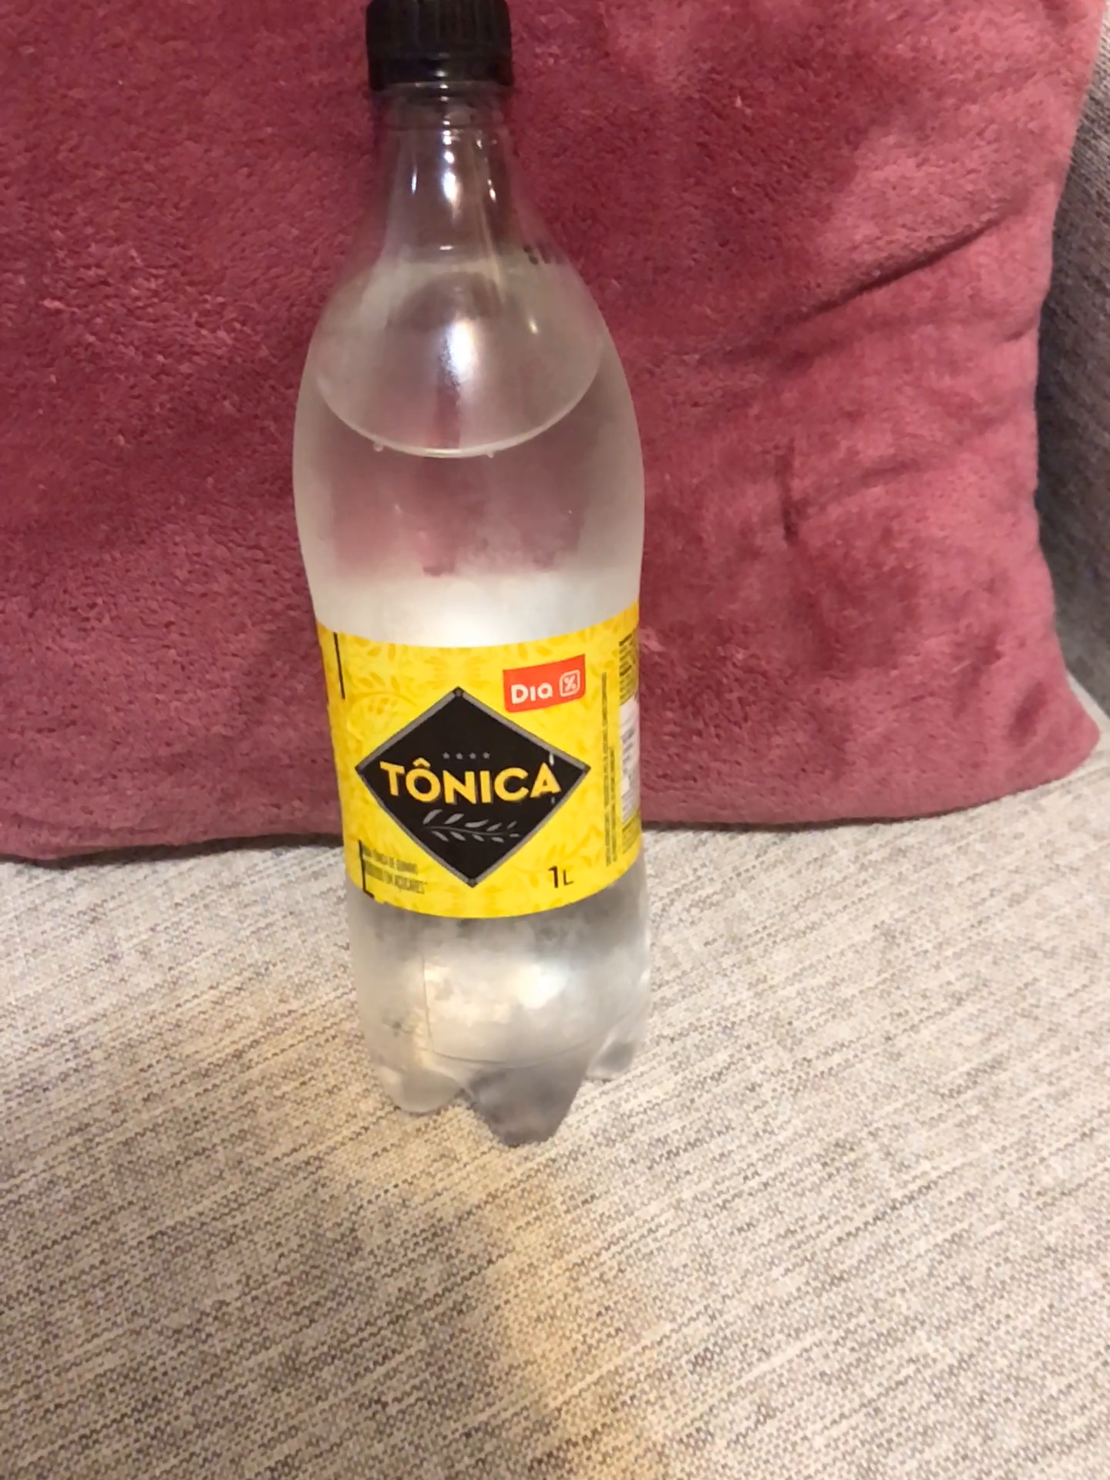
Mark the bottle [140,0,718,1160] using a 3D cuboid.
[{"bbox_3d":[-0.016,-0.034,0.315,0.100,0.269,0.100,-2,25,1],"label":"bottle"}]
